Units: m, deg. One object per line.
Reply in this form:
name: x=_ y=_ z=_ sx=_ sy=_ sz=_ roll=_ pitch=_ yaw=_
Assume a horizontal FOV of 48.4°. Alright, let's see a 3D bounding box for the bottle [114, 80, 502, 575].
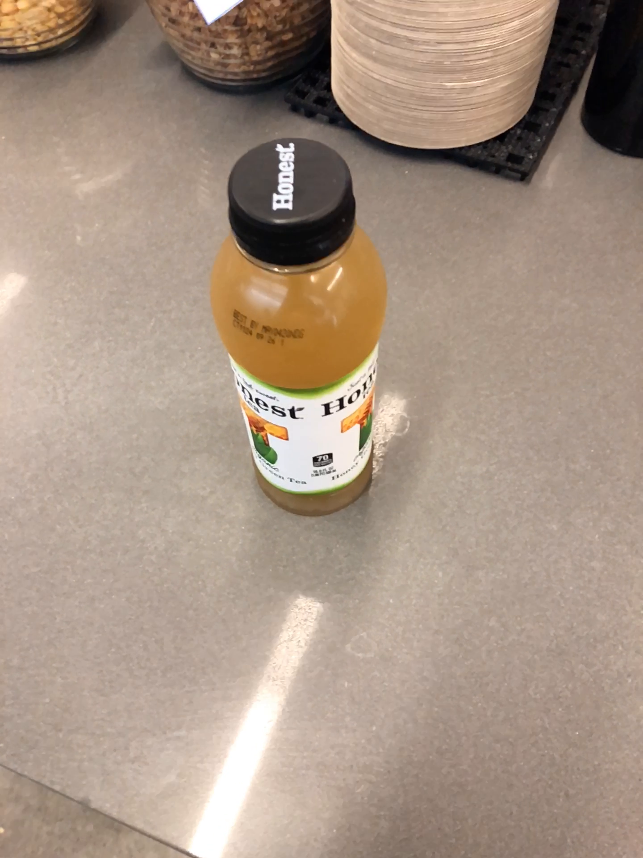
bottle: x=-0.002 y=-0.028 z=0.317 sx=0.090 sy=0.190 sz=0.090 roll=-1 pitch=60 yaw=1
